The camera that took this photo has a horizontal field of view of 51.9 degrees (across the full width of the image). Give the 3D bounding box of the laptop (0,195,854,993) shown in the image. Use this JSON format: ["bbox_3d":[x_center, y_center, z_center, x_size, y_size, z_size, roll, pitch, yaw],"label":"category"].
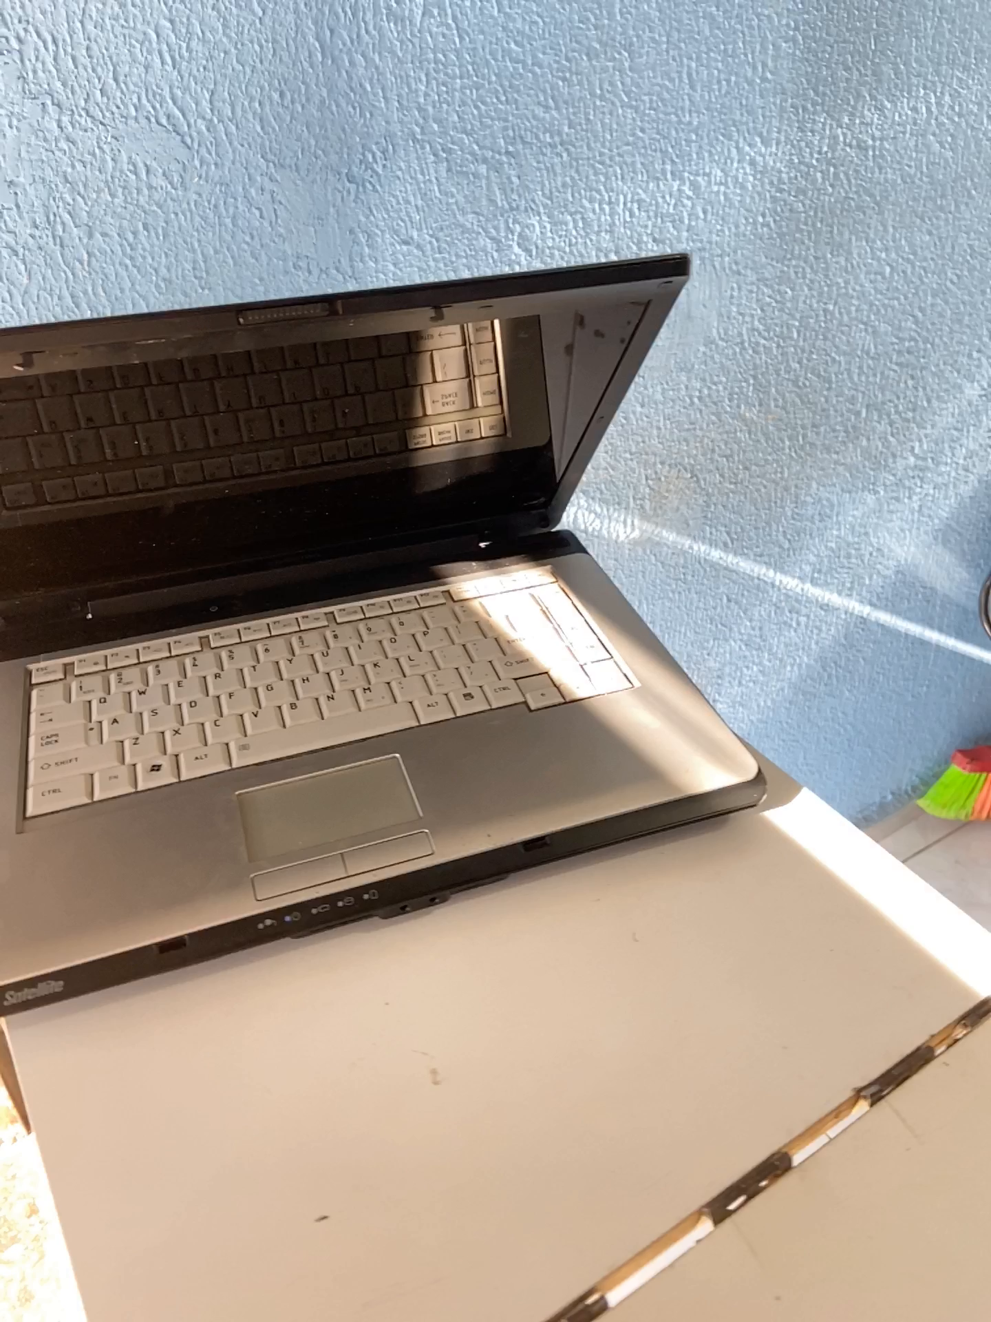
[{"bbox_3d":[-0.081,-0.061,0.463,0.351,0.202,0.247,-12,38,-15],"label":"laptop"}]
